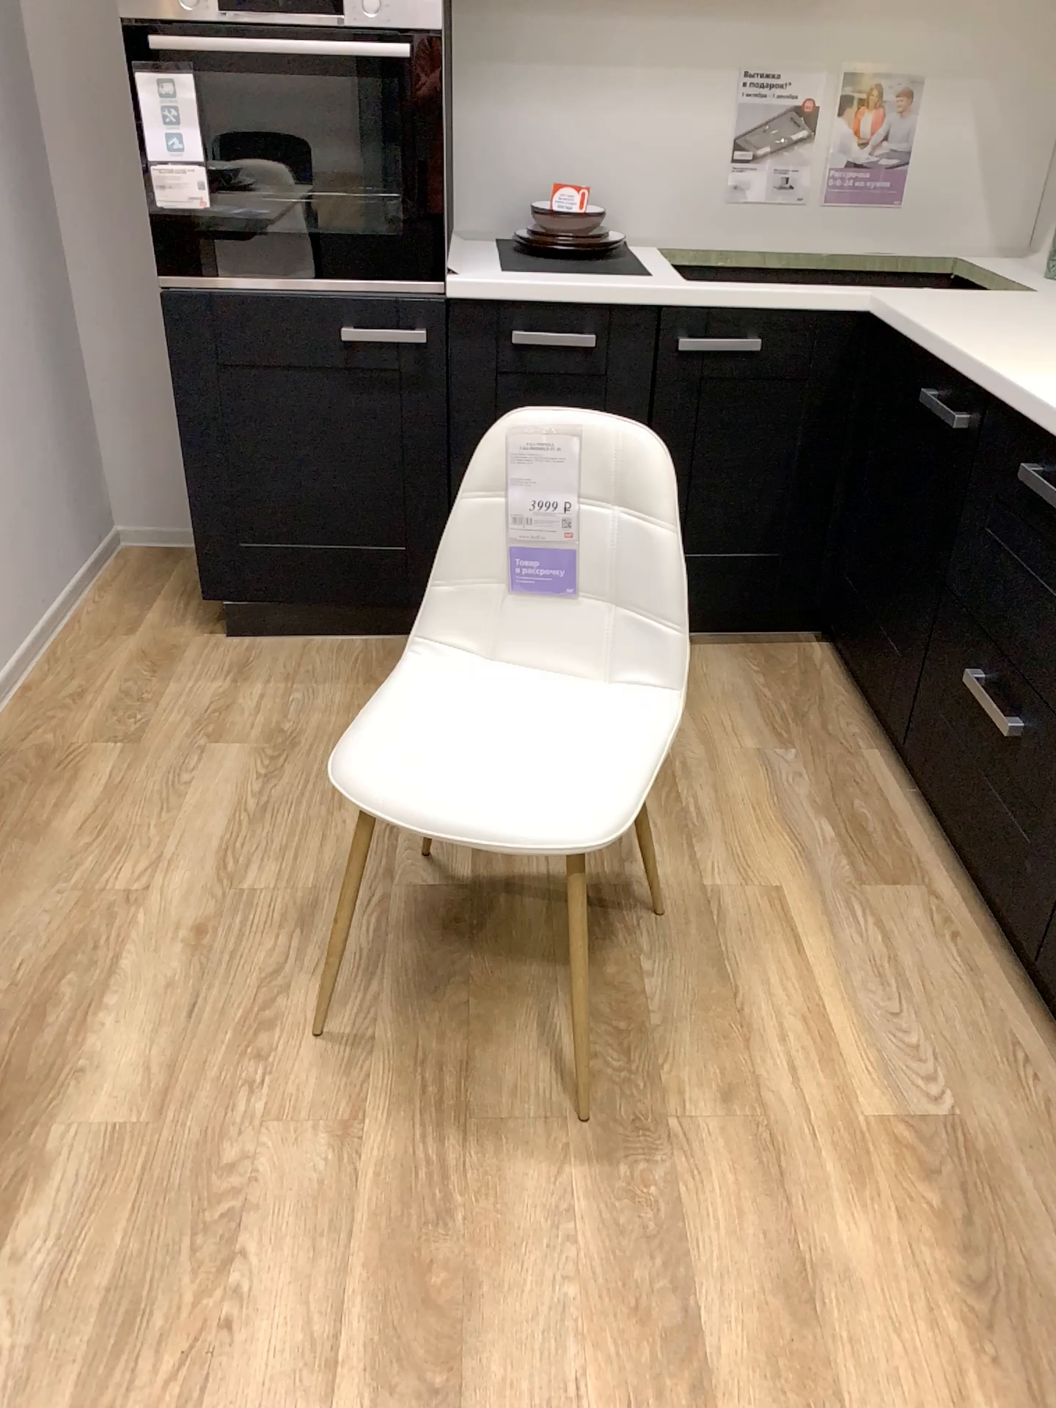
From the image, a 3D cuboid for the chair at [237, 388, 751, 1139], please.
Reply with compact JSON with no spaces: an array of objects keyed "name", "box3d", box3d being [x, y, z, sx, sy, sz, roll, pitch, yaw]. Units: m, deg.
[{"name":"chair","box3d":[-0.015,0.056,1.559,0.470,0.825,0.573,12,32,16]}]
